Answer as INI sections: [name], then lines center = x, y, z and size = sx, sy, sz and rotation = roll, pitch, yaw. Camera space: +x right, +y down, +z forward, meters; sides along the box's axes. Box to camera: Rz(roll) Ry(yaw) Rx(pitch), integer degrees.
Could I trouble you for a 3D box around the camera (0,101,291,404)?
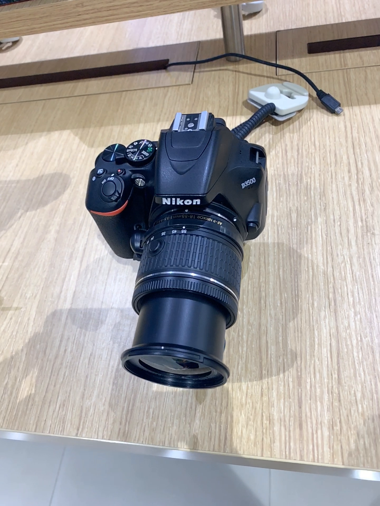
[camera]
center = -0.006, 0.001, 0.222
size = 0.117, 0.095, 0.131
rotation = 0, 56, 13
